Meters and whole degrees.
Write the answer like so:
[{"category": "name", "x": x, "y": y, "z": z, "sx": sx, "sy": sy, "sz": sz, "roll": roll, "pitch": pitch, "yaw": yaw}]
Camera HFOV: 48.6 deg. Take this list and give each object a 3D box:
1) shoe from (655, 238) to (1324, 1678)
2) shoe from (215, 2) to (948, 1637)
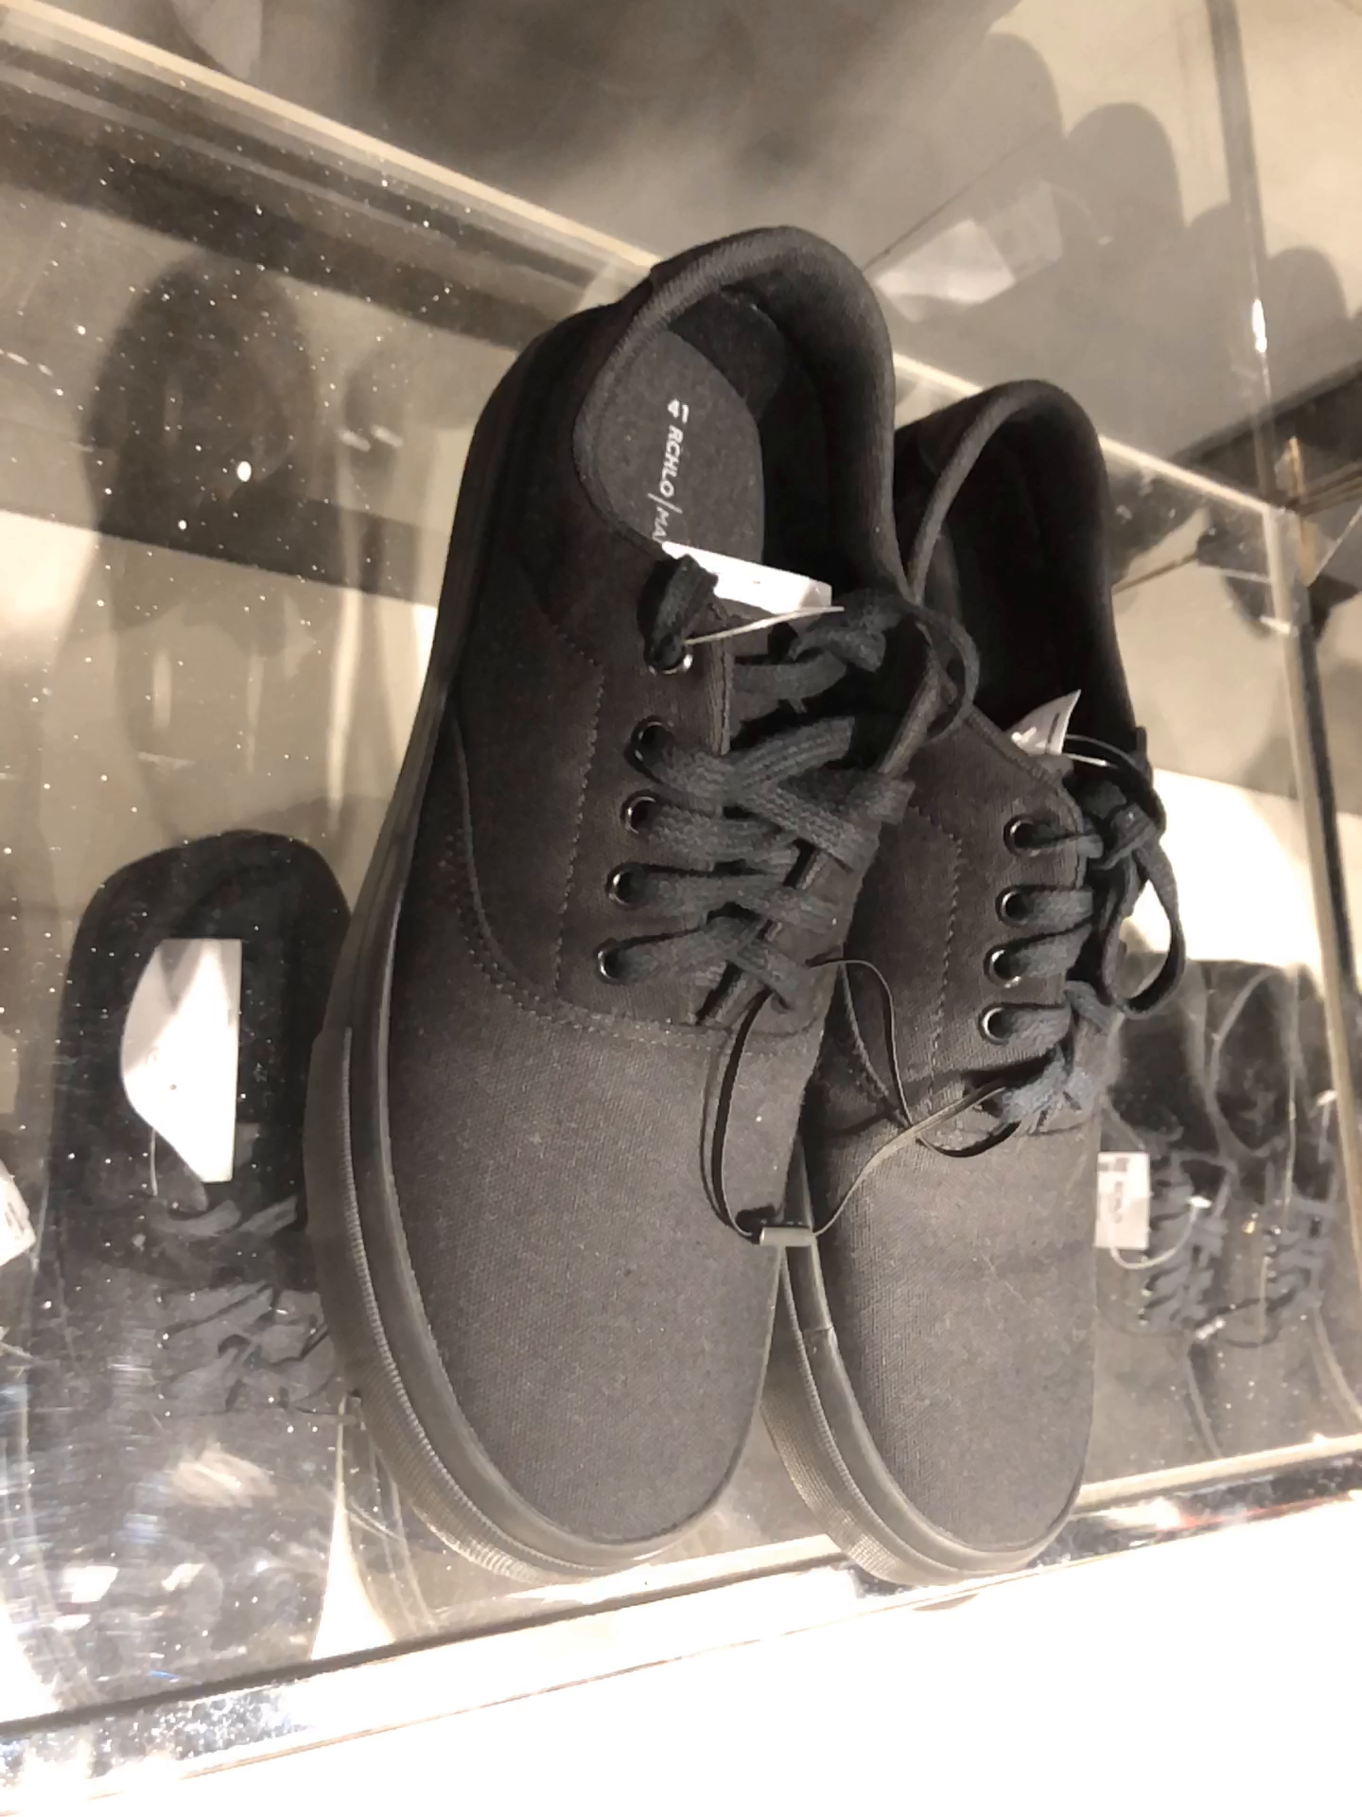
[{"category": "shoe", "x": 0.073, "y": 0.010, "z": 0.406, "sx": 0.111, "sy": 0.109, "sz": 0.320, "roll": 7, "pitch": 75, "yaw": -35}, {"category": "shoe", "x": -0.017, "y": -0.019, "z": 0.355, "sx": 0.110, "sy": 0.109, "sz": 0.320, "roll": 13, "pitch": 72, "yaw": -33}]
